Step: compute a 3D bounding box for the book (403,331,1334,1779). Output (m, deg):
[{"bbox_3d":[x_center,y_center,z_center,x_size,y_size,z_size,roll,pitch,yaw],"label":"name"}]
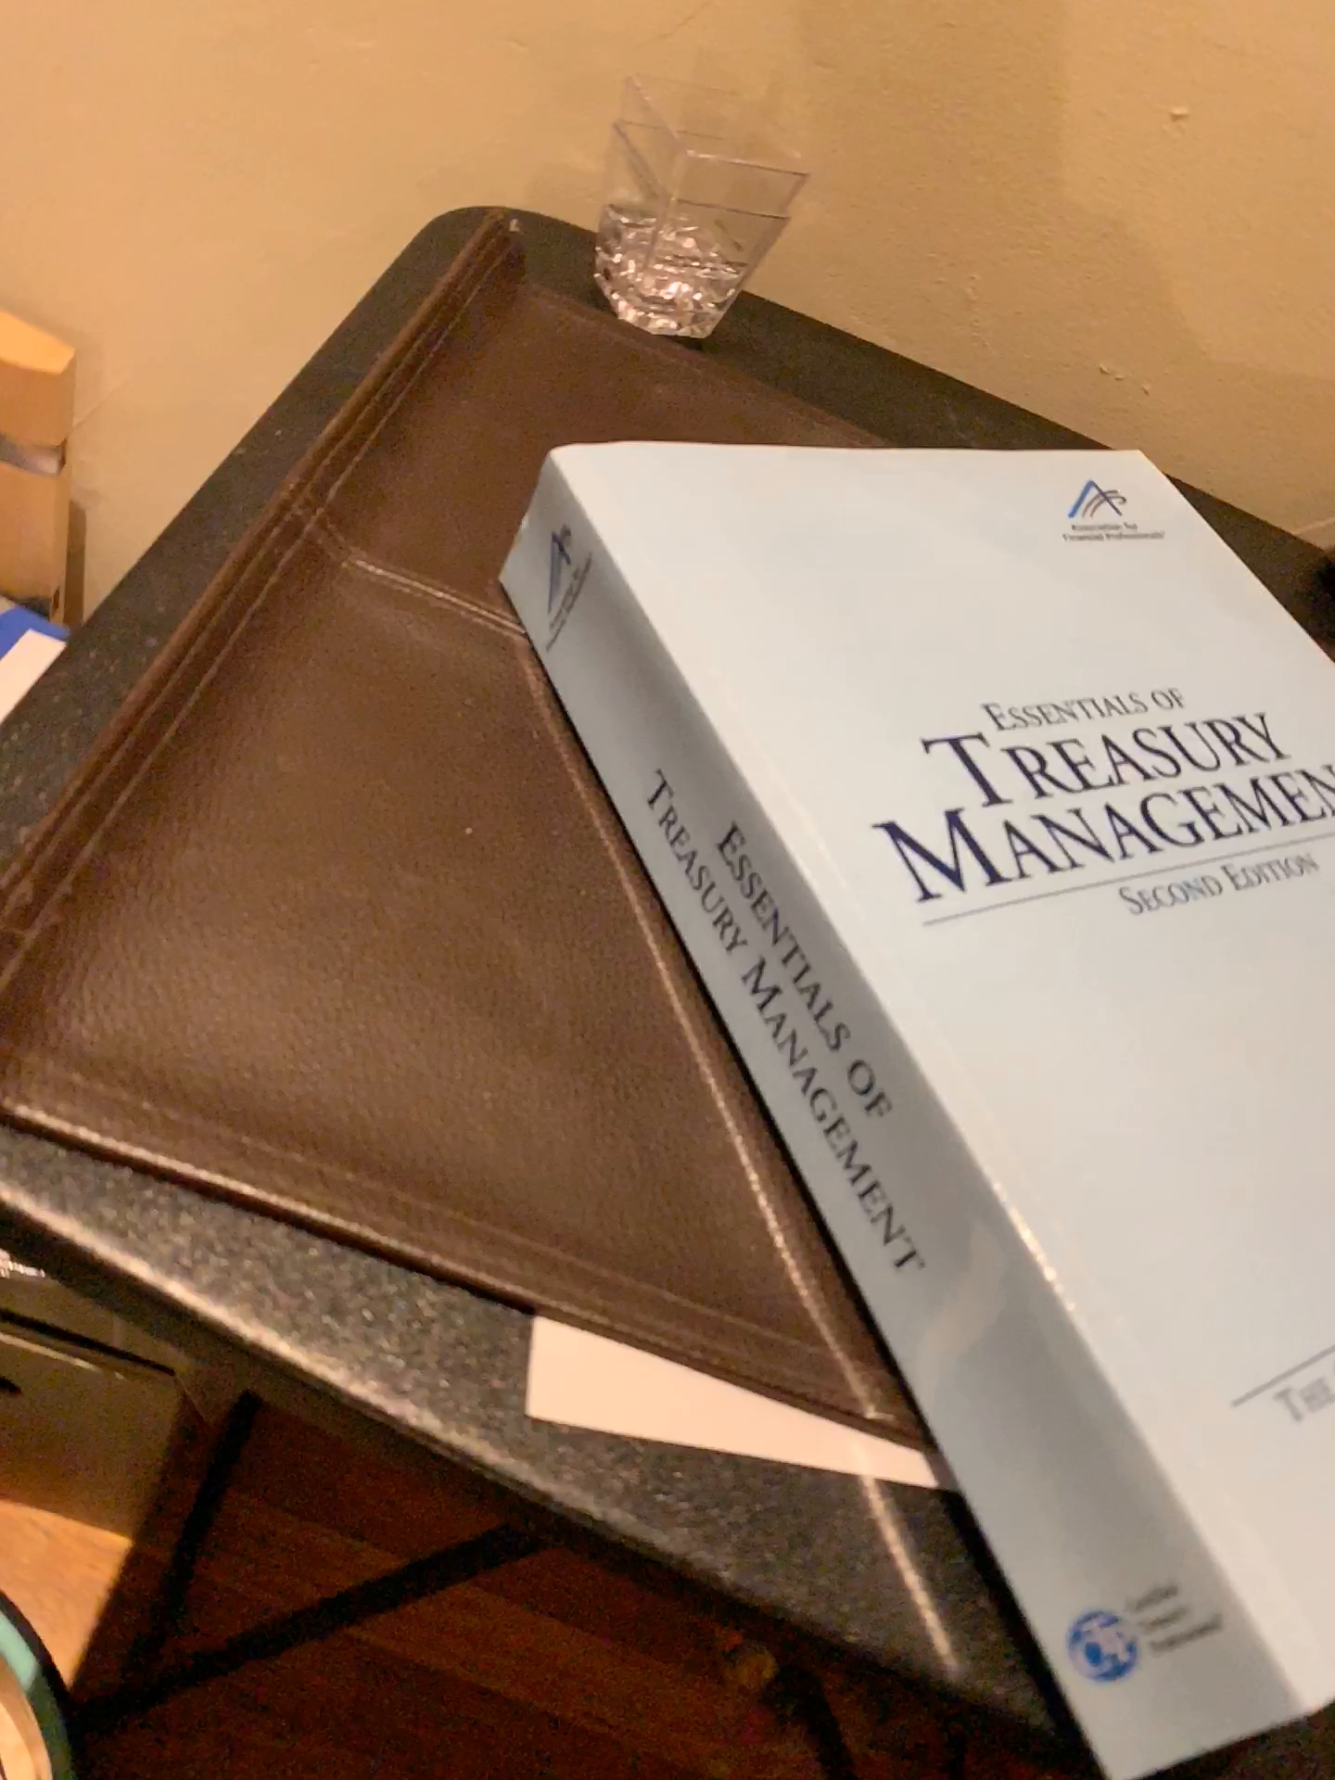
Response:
[{"bbox_3d":[0.097,-0.005,0.315,0.221,0.060,0.301,-9,57,-31],"label":"book"}]
